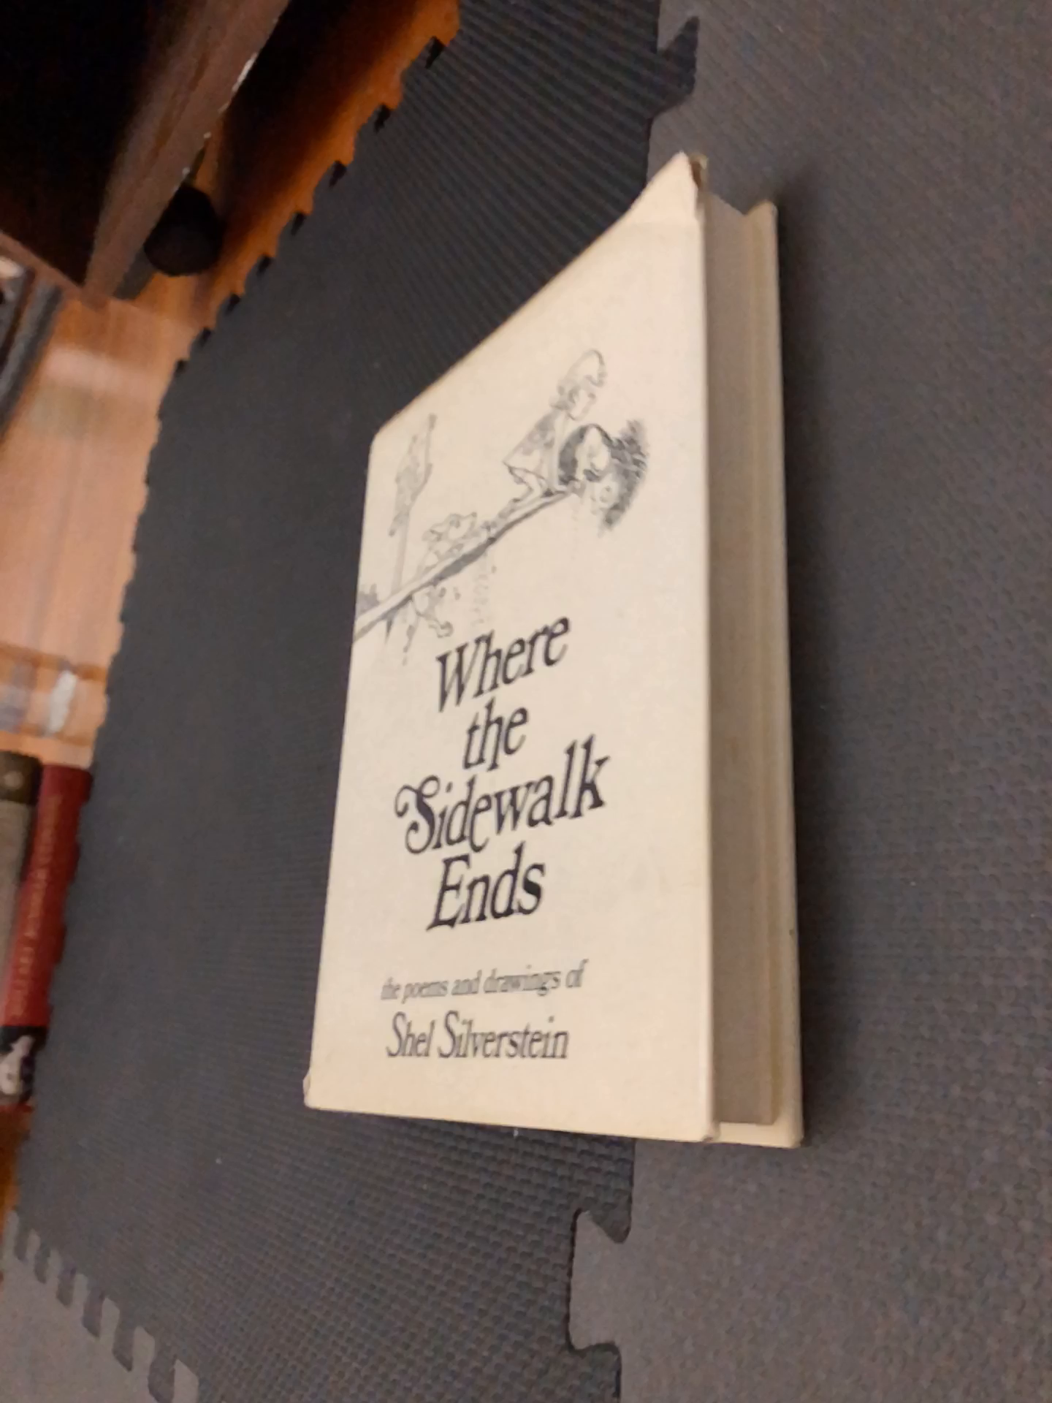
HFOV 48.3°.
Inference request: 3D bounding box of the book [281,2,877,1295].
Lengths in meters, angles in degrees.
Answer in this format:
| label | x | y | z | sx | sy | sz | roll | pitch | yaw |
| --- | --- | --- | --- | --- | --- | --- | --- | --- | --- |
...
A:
| label | x | y | z | sx | sy | sz | roll | pitch | yaw |
| --- | --- | --- | --- | --- | --- | --- | --- | --- | --- |
| book | 0.004 | -0.010 | 0.326 | 0.201 | 0.030 | 0.280 | -21 | 59 | 53 |
